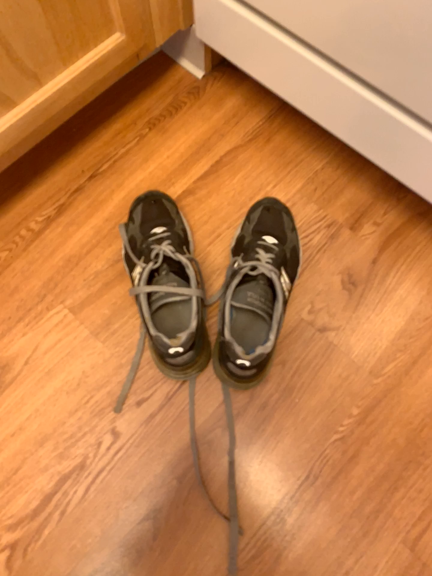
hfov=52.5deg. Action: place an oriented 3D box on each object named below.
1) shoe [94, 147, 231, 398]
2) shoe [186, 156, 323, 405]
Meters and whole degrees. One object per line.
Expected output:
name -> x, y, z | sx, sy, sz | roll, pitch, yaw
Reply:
shoe -> -0.072, -0.023, 0.580 | 0.120, 0.100, 0.300 | -11, 70, -3
shoe -> 0.055, -0.013, 0.583 | 0.120, 0.100, 0.300 | 10, 70, 5
